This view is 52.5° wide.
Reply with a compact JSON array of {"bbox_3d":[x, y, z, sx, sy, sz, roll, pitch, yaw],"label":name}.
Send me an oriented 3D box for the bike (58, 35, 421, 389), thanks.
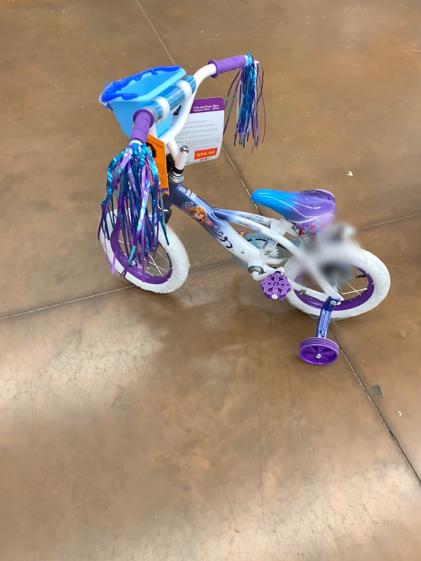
[{"bbox_3d":[0.146,-0.121,1.022,0.651,0.643,0.474,7,52,4],"label":"bike"}]
